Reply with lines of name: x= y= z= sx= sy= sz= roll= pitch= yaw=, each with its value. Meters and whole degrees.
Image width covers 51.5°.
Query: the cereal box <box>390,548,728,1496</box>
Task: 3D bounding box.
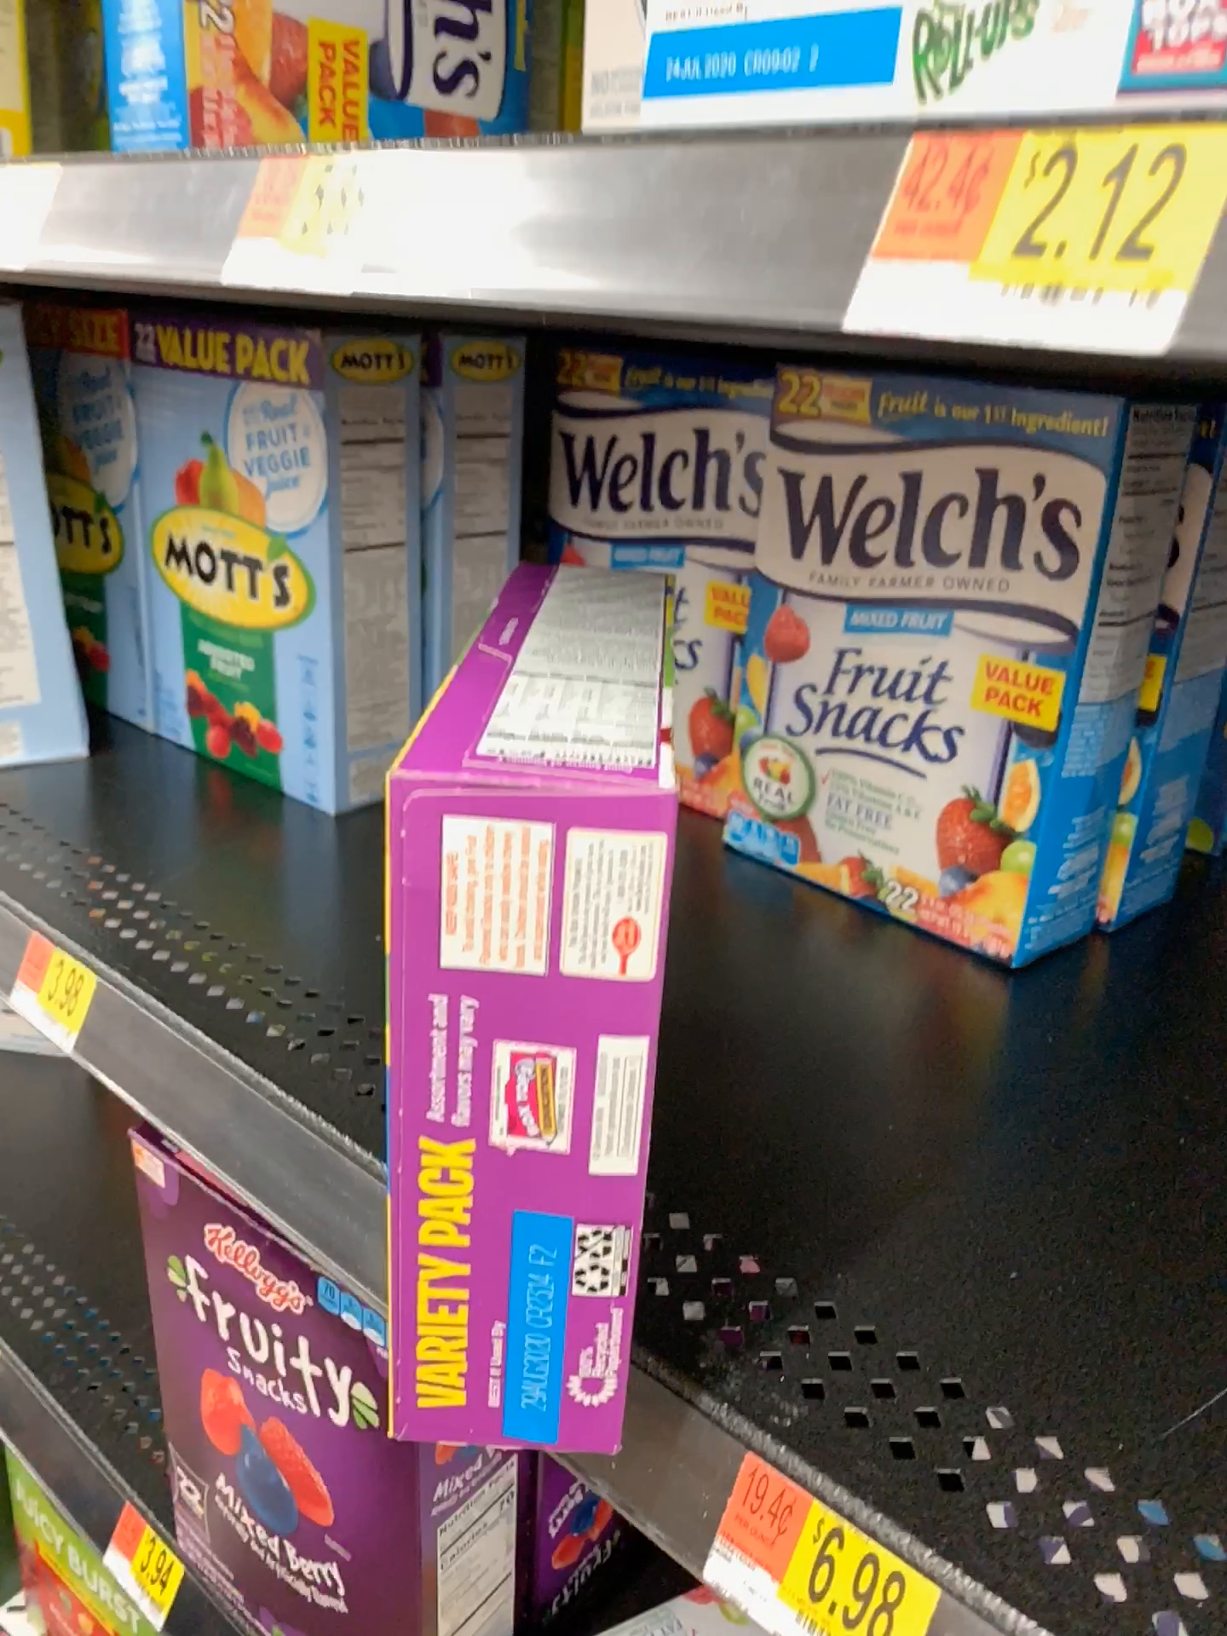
cereal box: x=-0.011 y=0.032 z=0.359 sx=0.060 sy=0.169 sz=0.221 roll=4 pitch=23 yaw=0
